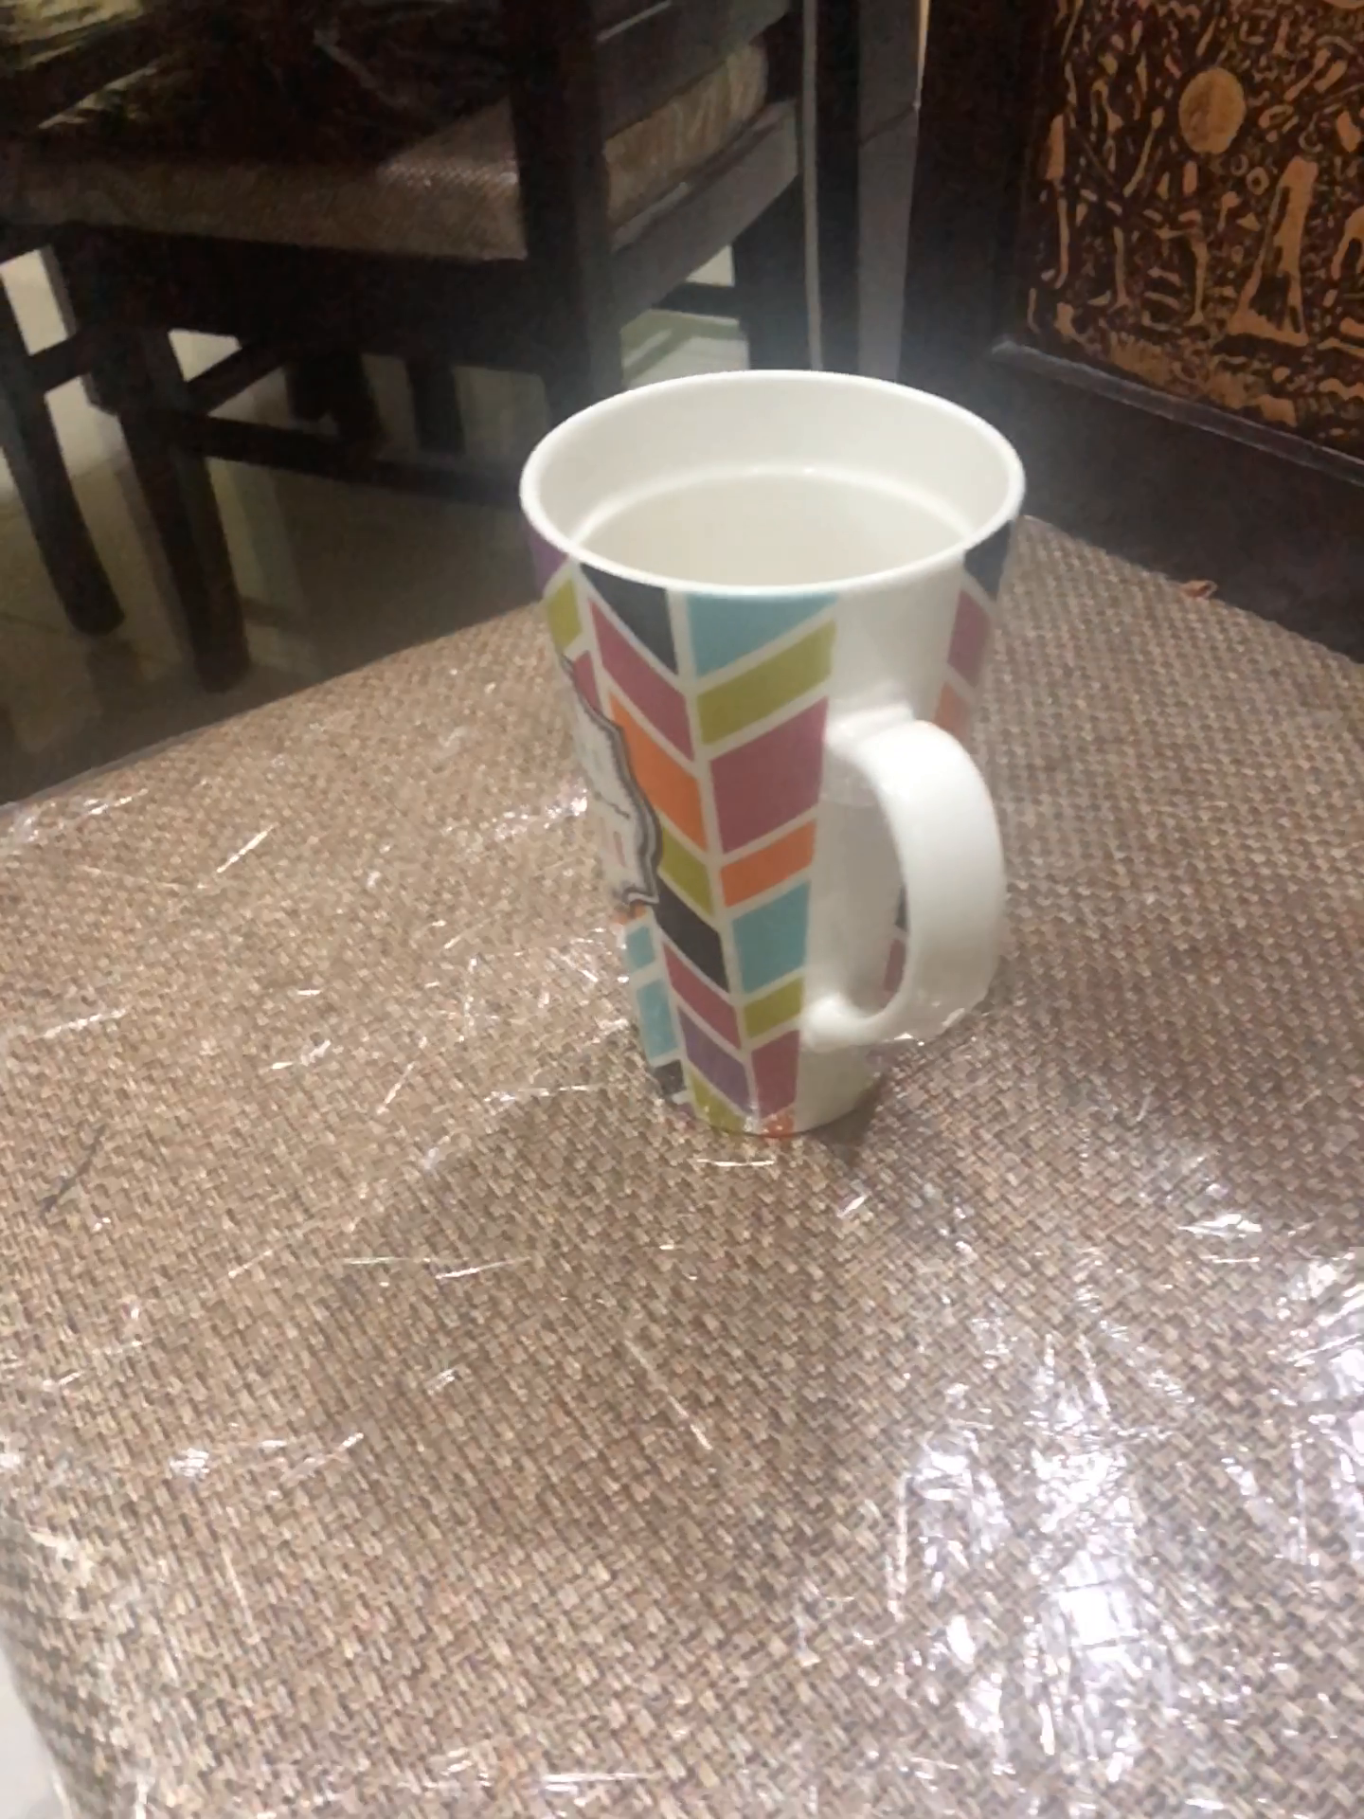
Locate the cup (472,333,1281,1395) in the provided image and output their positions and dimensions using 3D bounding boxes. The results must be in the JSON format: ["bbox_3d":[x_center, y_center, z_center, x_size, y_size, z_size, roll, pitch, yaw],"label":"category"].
[{"bbox_3d":[0.023,-0.013,0.292,0.090,0.139,0.130,-11,41,-11],"label":"cup"}]
